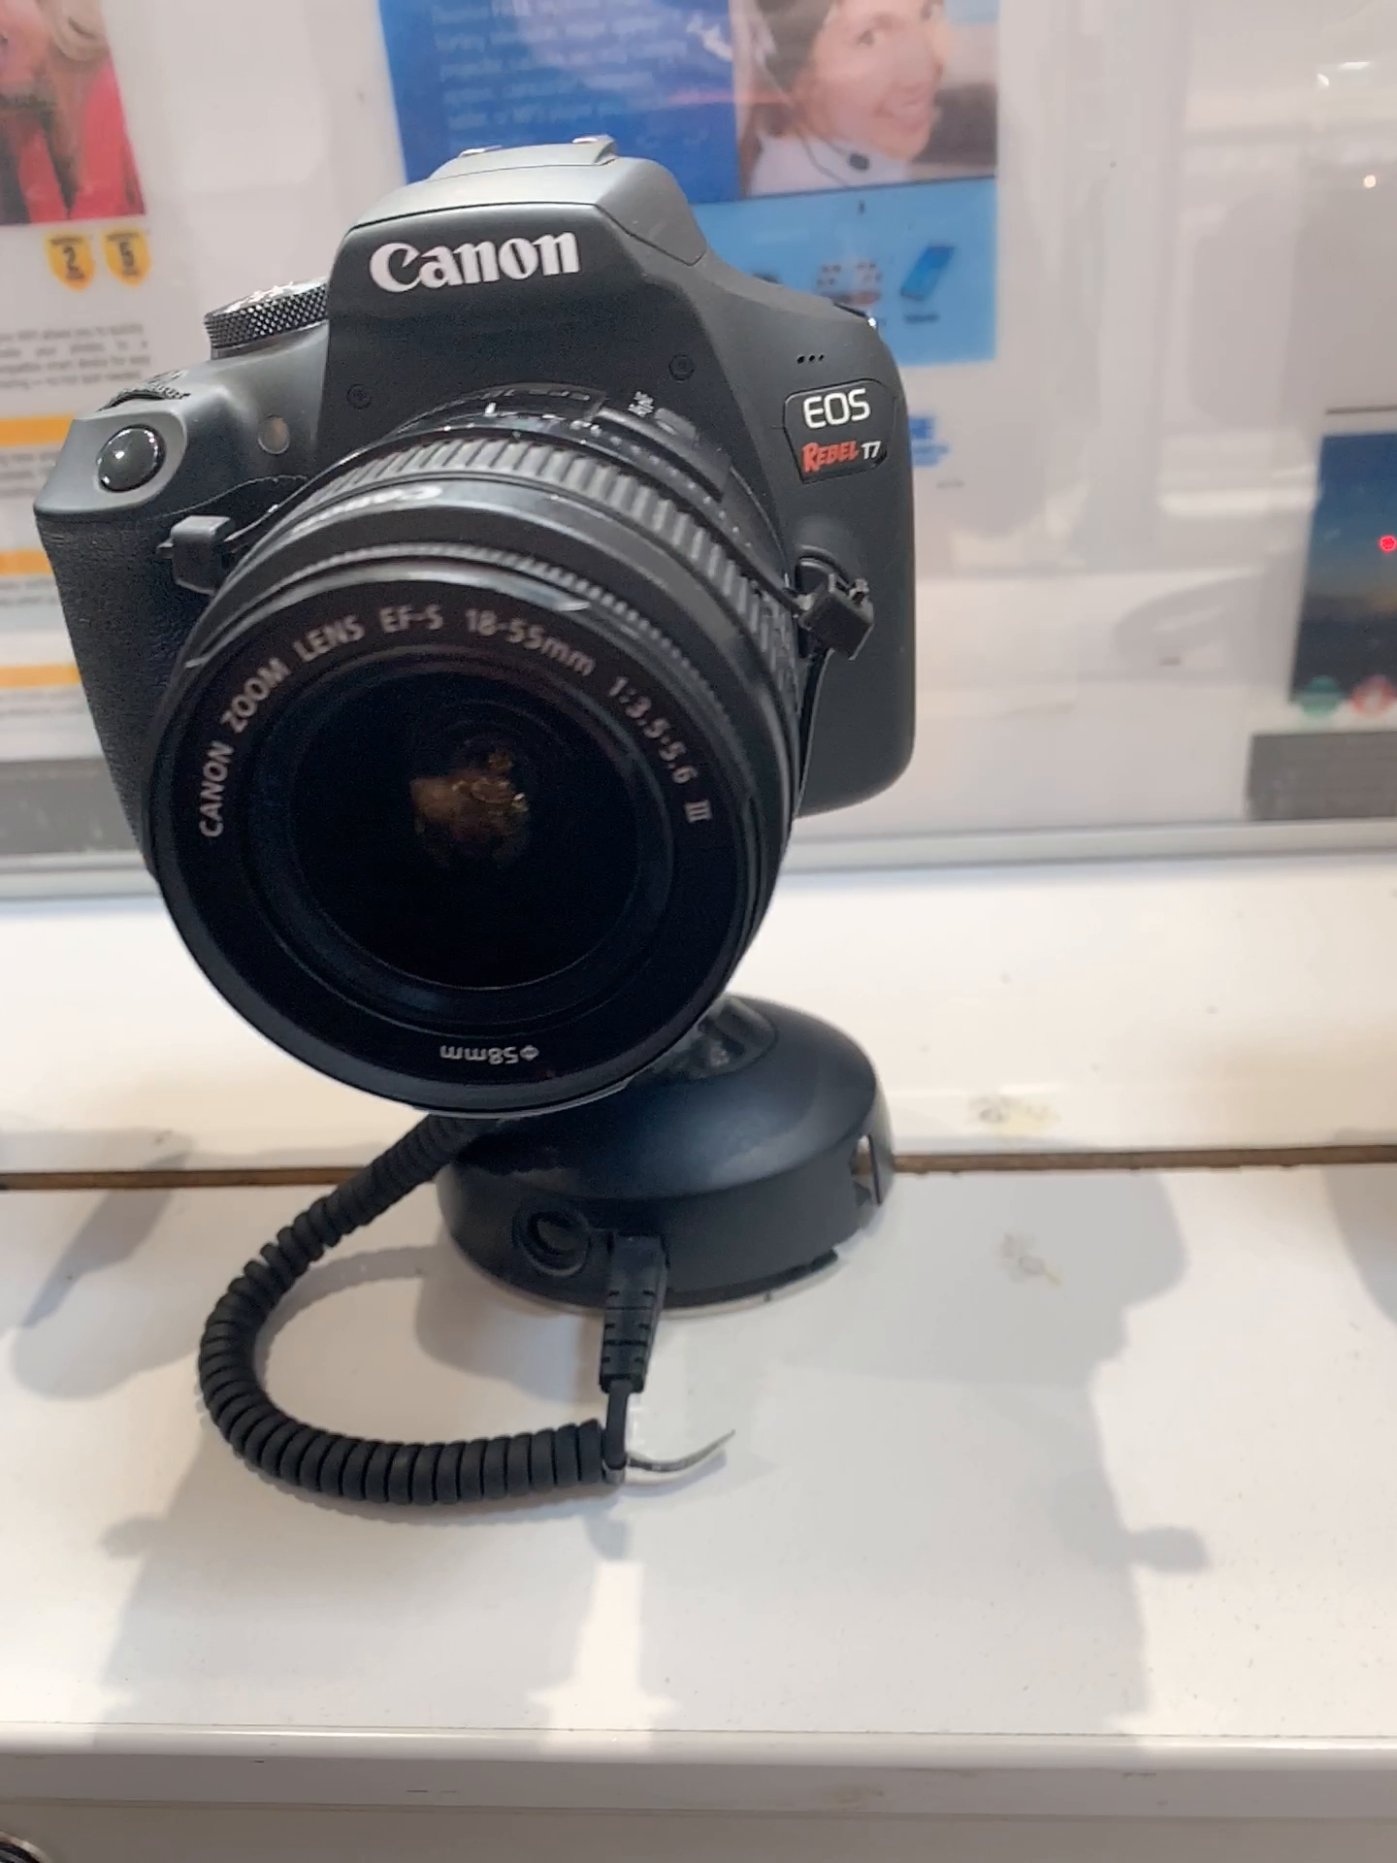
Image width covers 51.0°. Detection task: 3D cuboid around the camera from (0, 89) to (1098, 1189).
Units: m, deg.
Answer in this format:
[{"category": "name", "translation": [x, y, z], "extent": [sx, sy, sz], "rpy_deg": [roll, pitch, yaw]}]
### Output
[{"category": "camera", "translation": [-0.024, -0.044, 0.191], "extent": [0.122, 0.104, 0.110], "rpy_deg": [-2, 28, 4]}]
